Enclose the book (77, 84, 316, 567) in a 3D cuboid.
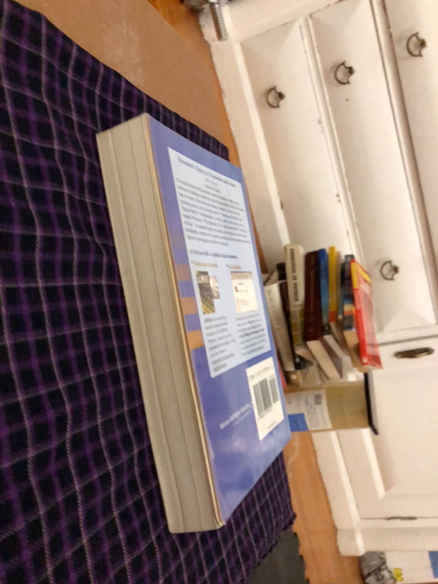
[{"bbox_3d":[0.003,0.013,0.328,0.181,0.040,0.240,-9,87,-67],"label":"book"}]
